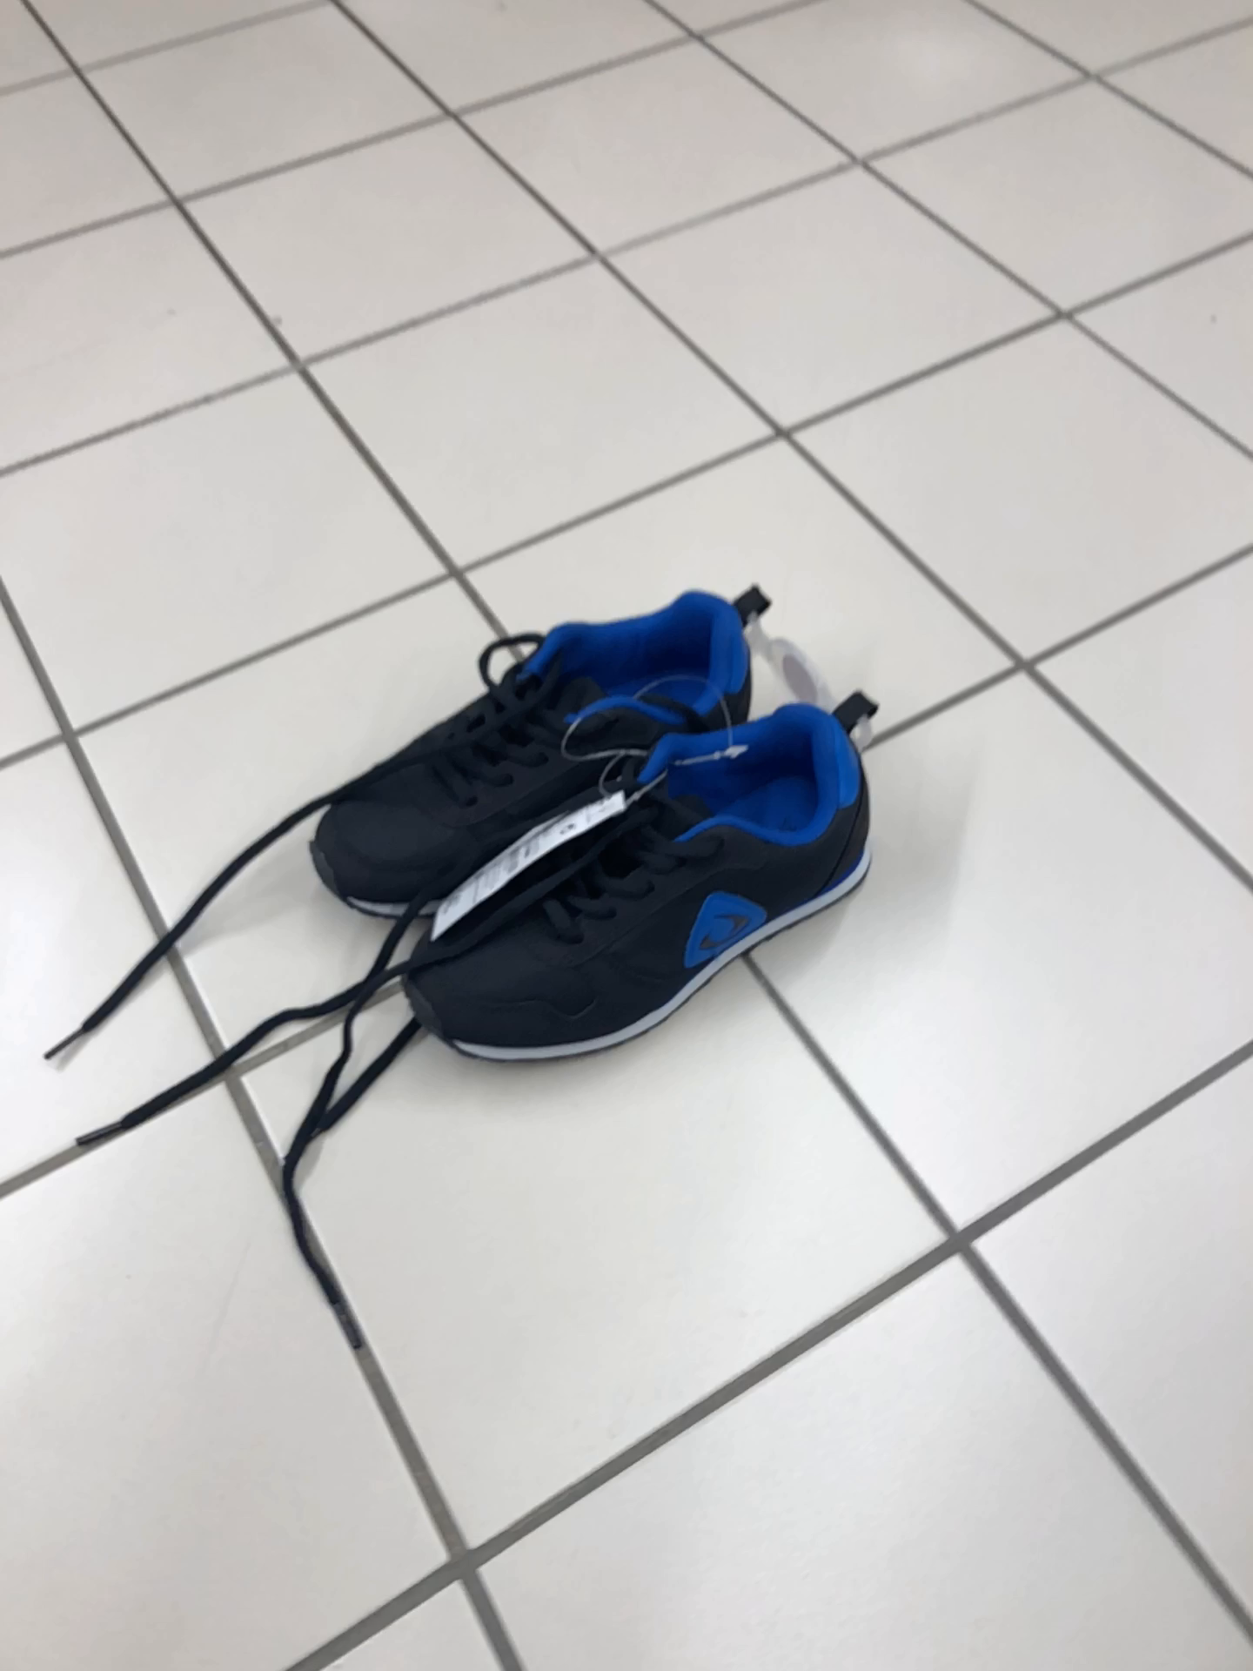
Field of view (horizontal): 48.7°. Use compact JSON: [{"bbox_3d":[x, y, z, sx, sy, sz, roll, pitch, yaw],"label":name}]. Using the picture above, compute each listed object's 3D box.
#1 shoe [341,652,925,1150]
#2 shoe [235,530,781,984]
[{"bbox_3d":[0.006,0.023,0.542,0.208,0.082,0.076,-29,59,-18],"label":"shoe"},{"bbox_3d":[-0.044,-0.036,0.583,0.208,0.082,0.076,-29,59,-18],"label":"shoe"}]
